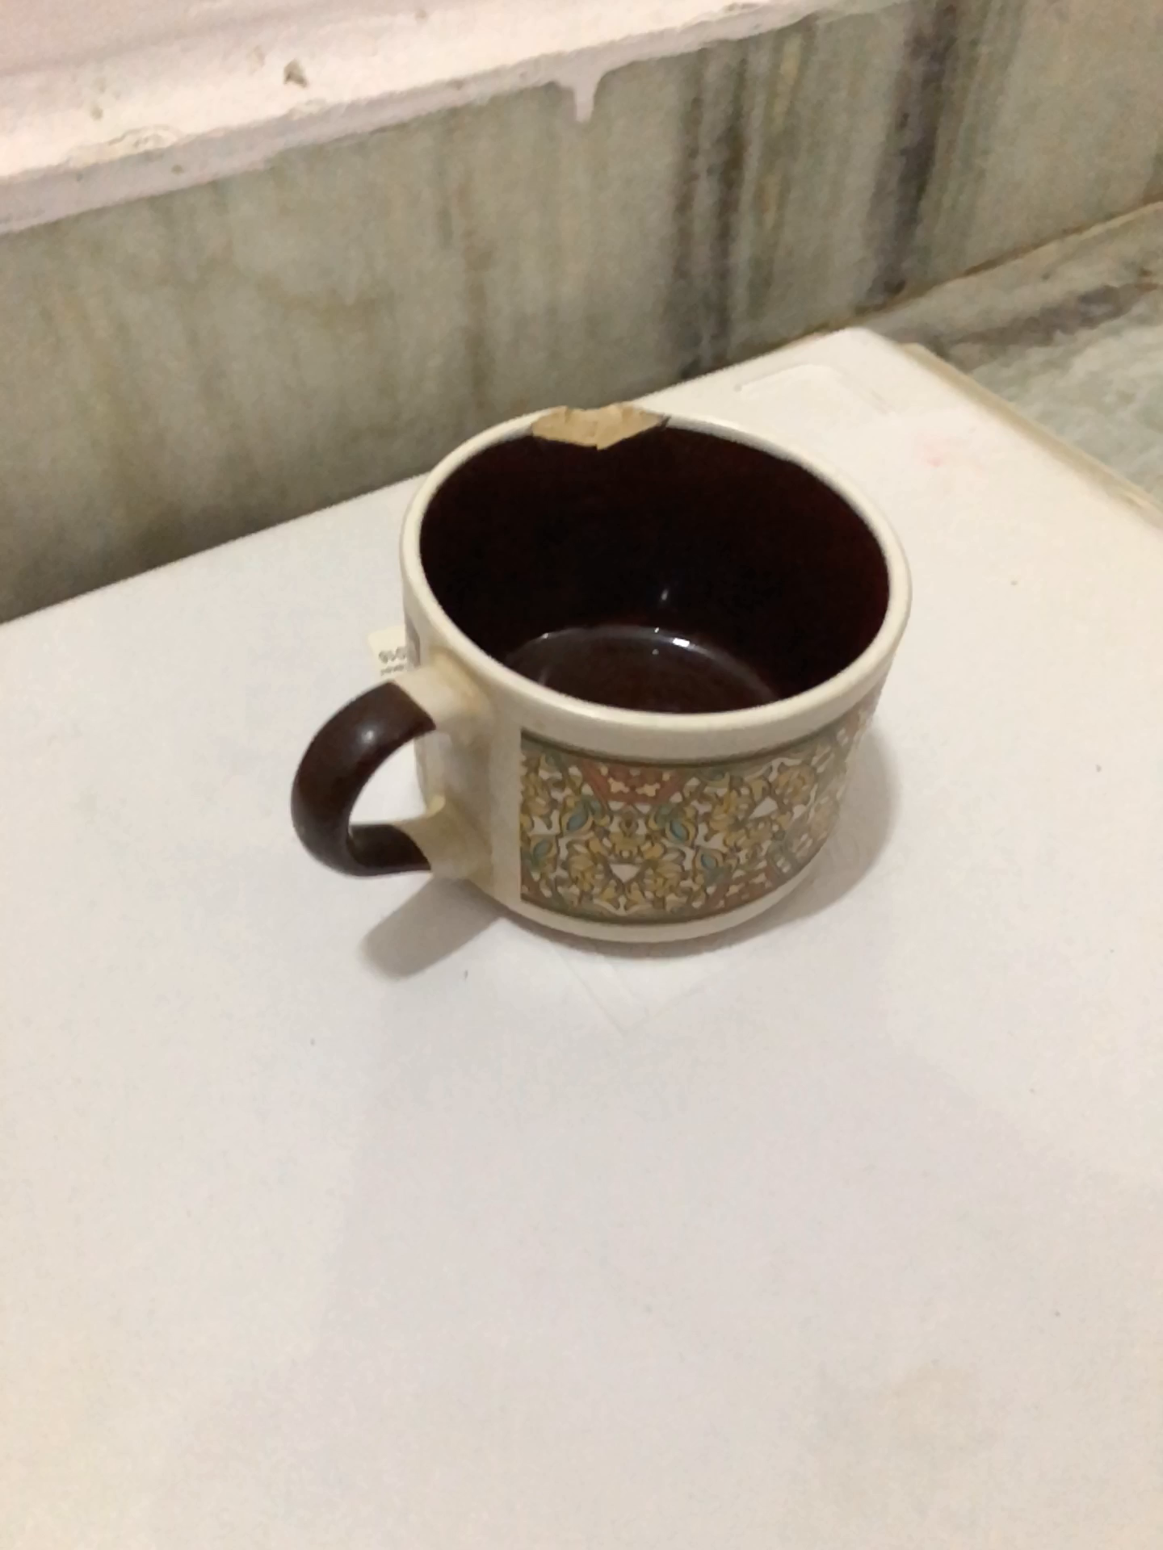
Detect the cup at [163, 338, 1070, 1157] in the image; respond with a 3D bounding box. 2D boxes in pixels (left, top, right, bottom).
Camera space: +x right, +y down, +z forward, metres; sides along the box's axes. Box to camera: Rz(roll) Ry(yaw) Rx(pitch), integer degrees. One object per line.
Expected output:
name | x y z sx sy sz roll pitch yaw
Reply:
cup | 0.003 -0.011 0.205 0.100 0.060 0.080 -26 54 -24
